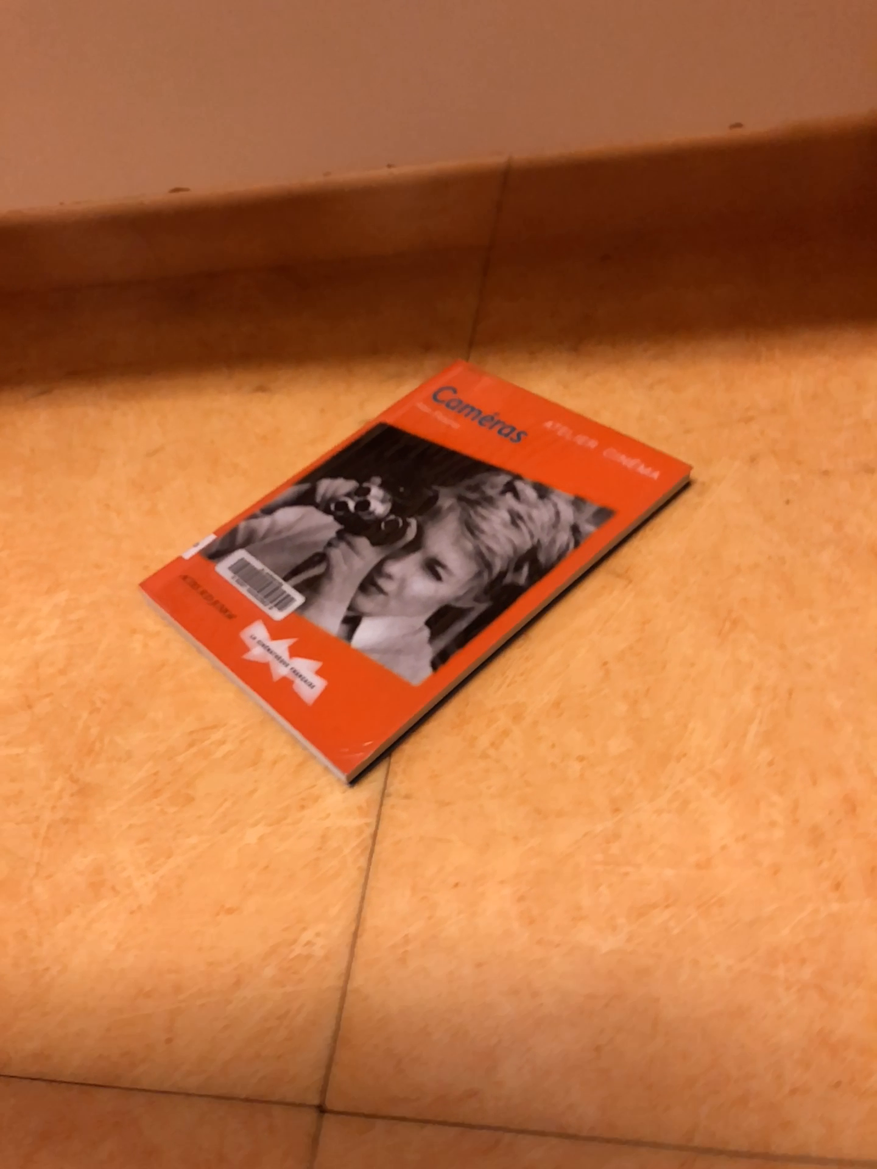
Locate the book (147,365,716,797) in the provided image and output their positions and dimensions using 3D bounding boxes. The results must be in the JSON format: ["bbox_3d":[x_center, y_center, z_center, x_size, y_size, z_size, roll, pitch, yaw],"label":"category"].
[{"bbox_3d":[-0.004,-0.020,0.434,0.206,0.011,0.155,-38,49,-23],"label":"book"}]
